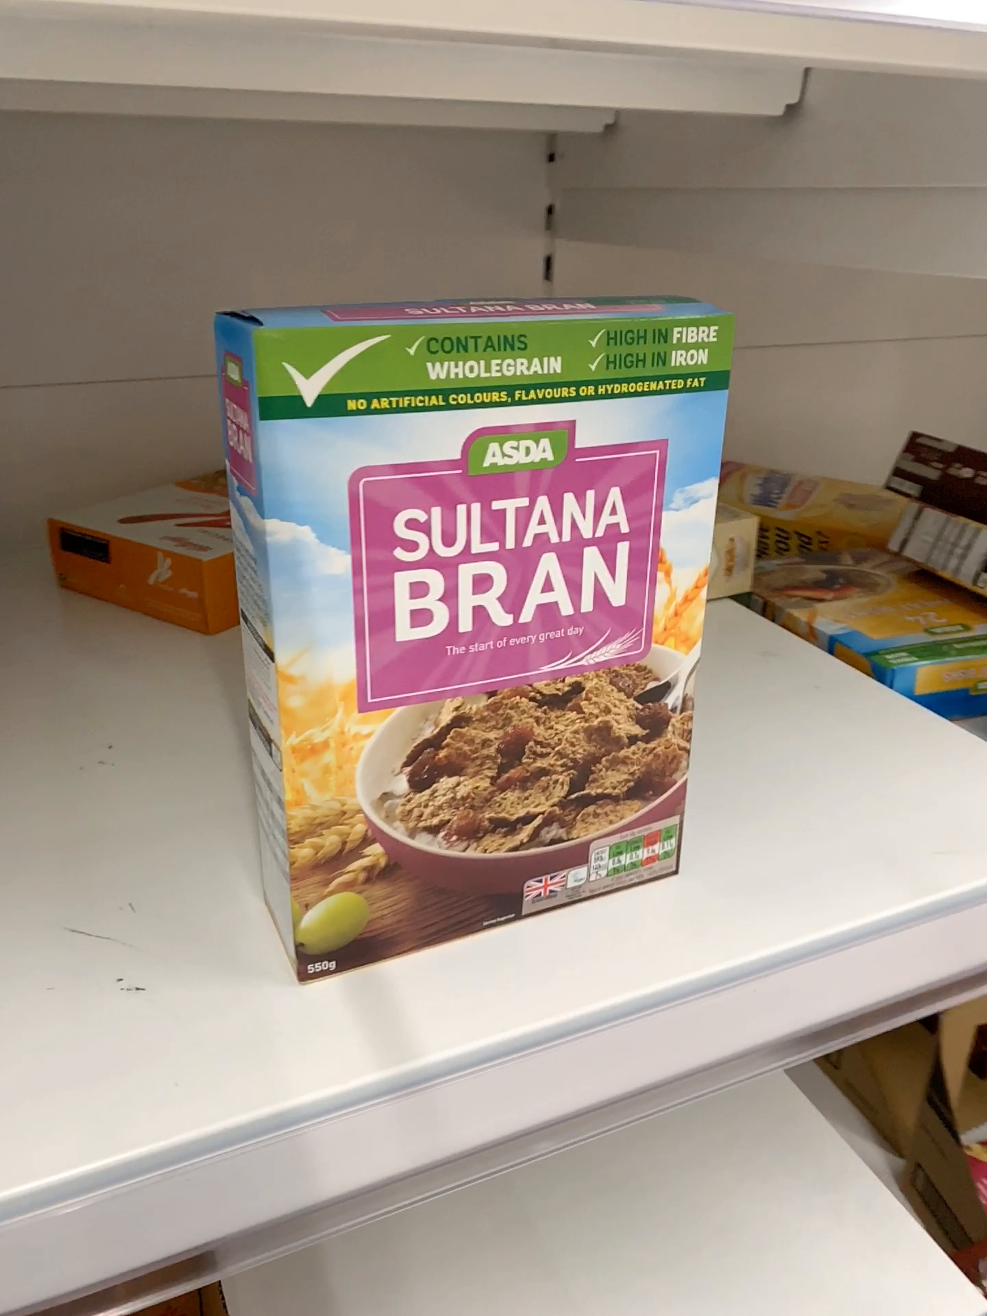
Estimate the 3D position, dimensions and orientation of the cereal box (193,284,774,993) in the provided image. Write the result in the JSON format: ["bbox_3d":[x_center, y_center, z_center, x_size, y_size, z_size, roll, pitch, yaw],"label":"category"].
[{"bbox_3d":[-0.002,-0.014,0.439,0.210,0.268,0.070,-10,26,-23],"label":"cereal box"}]
